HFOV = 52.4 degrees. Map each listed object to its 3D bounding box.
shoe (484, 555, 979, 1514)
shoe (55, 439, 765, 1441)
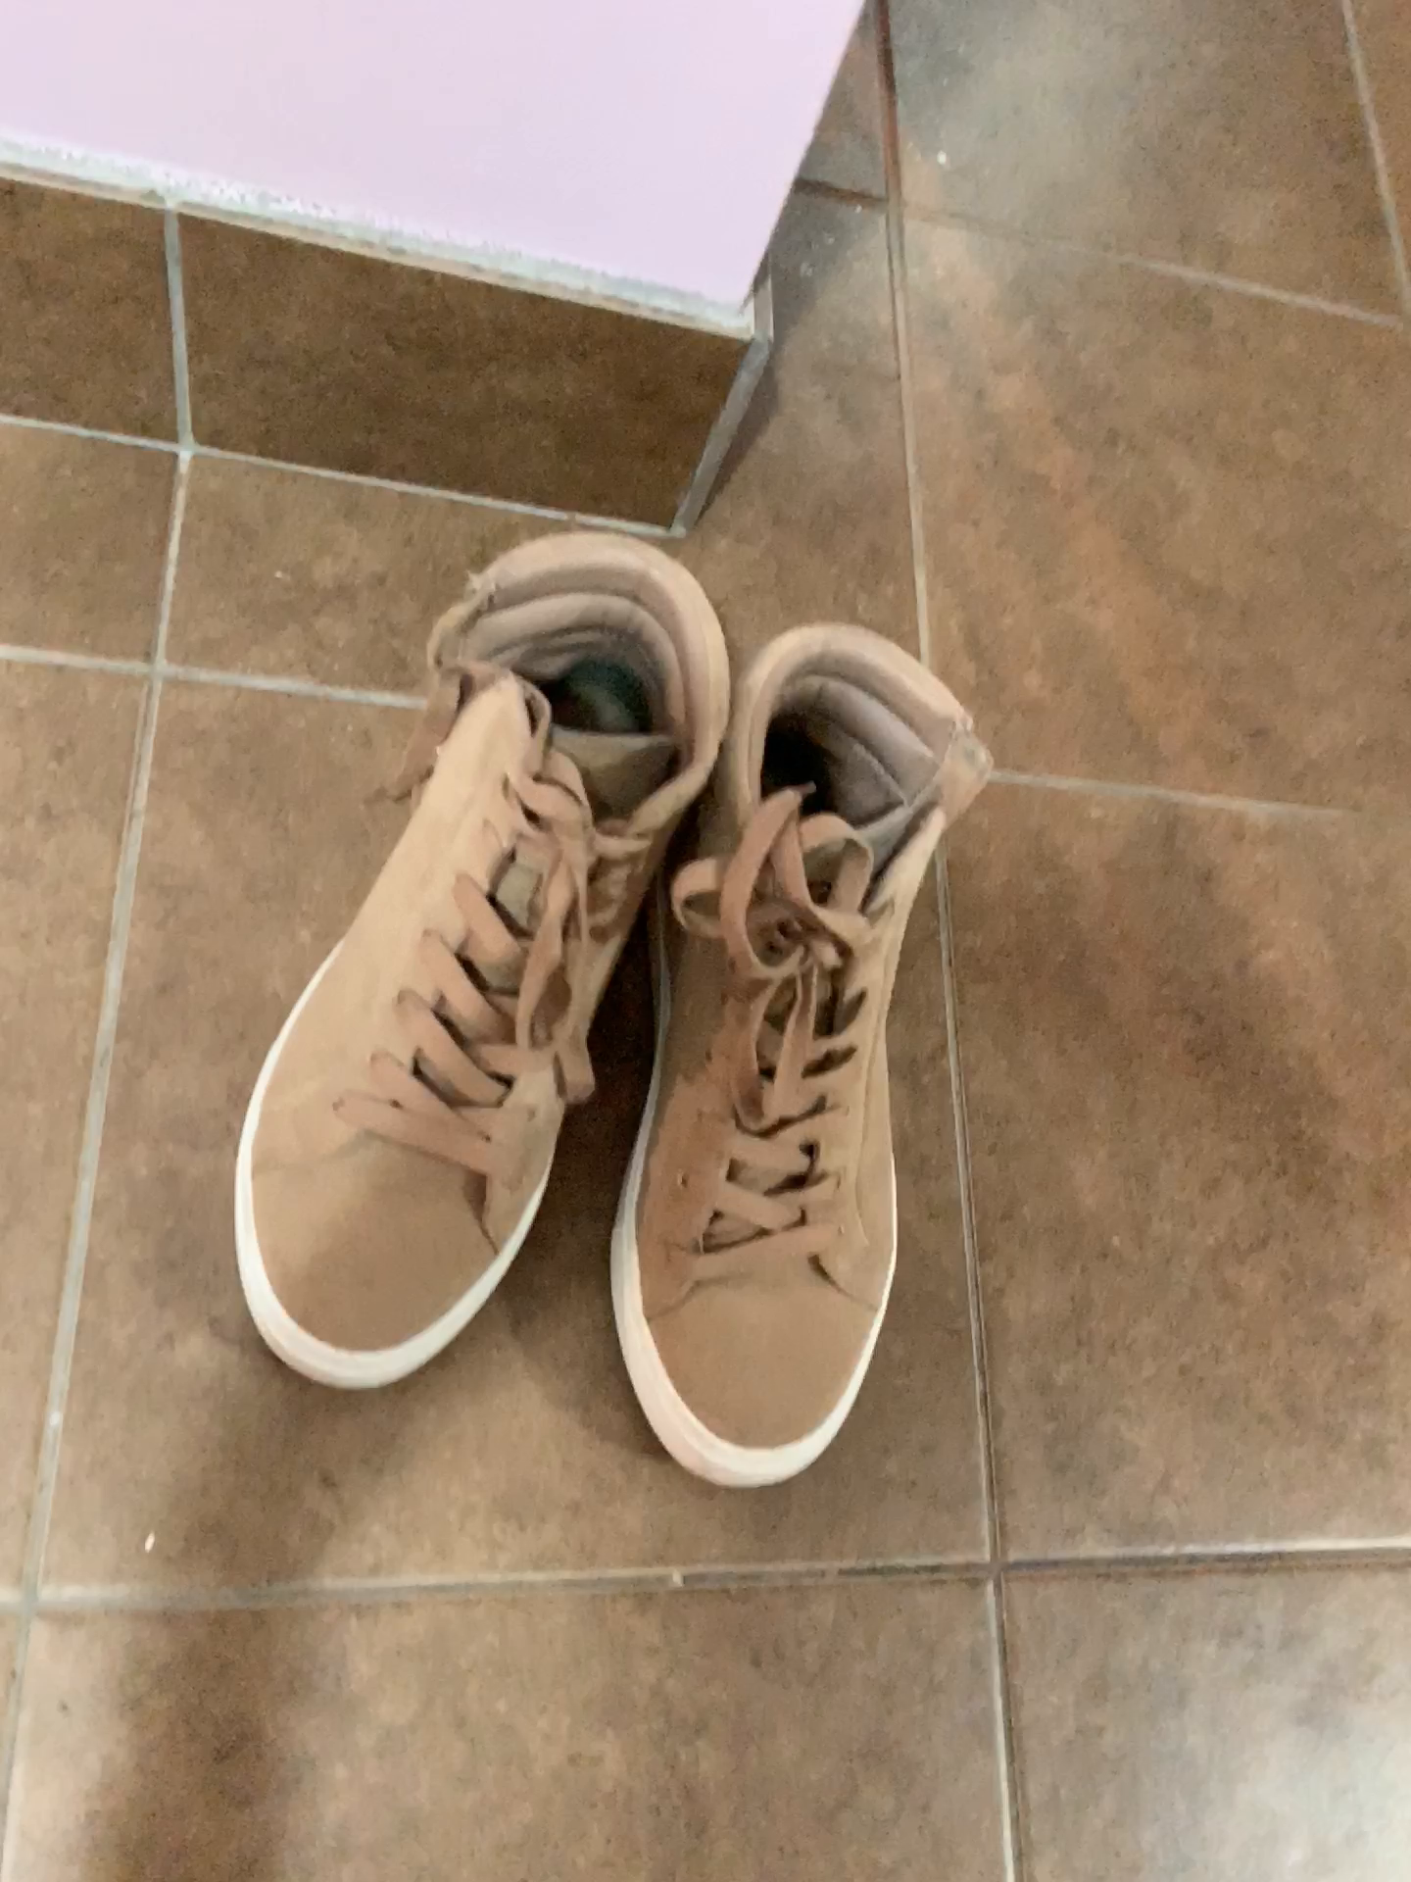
[{"bbox_3d":[0.010,0.034,0.464,0.113,0.120,0.270,10,68,-14],"label":"shoe"},{"bbox_3d":[-0.079,0.003,0.427,0.105,0.117,0.254,20,66,-10],"label":"shoe"}]
